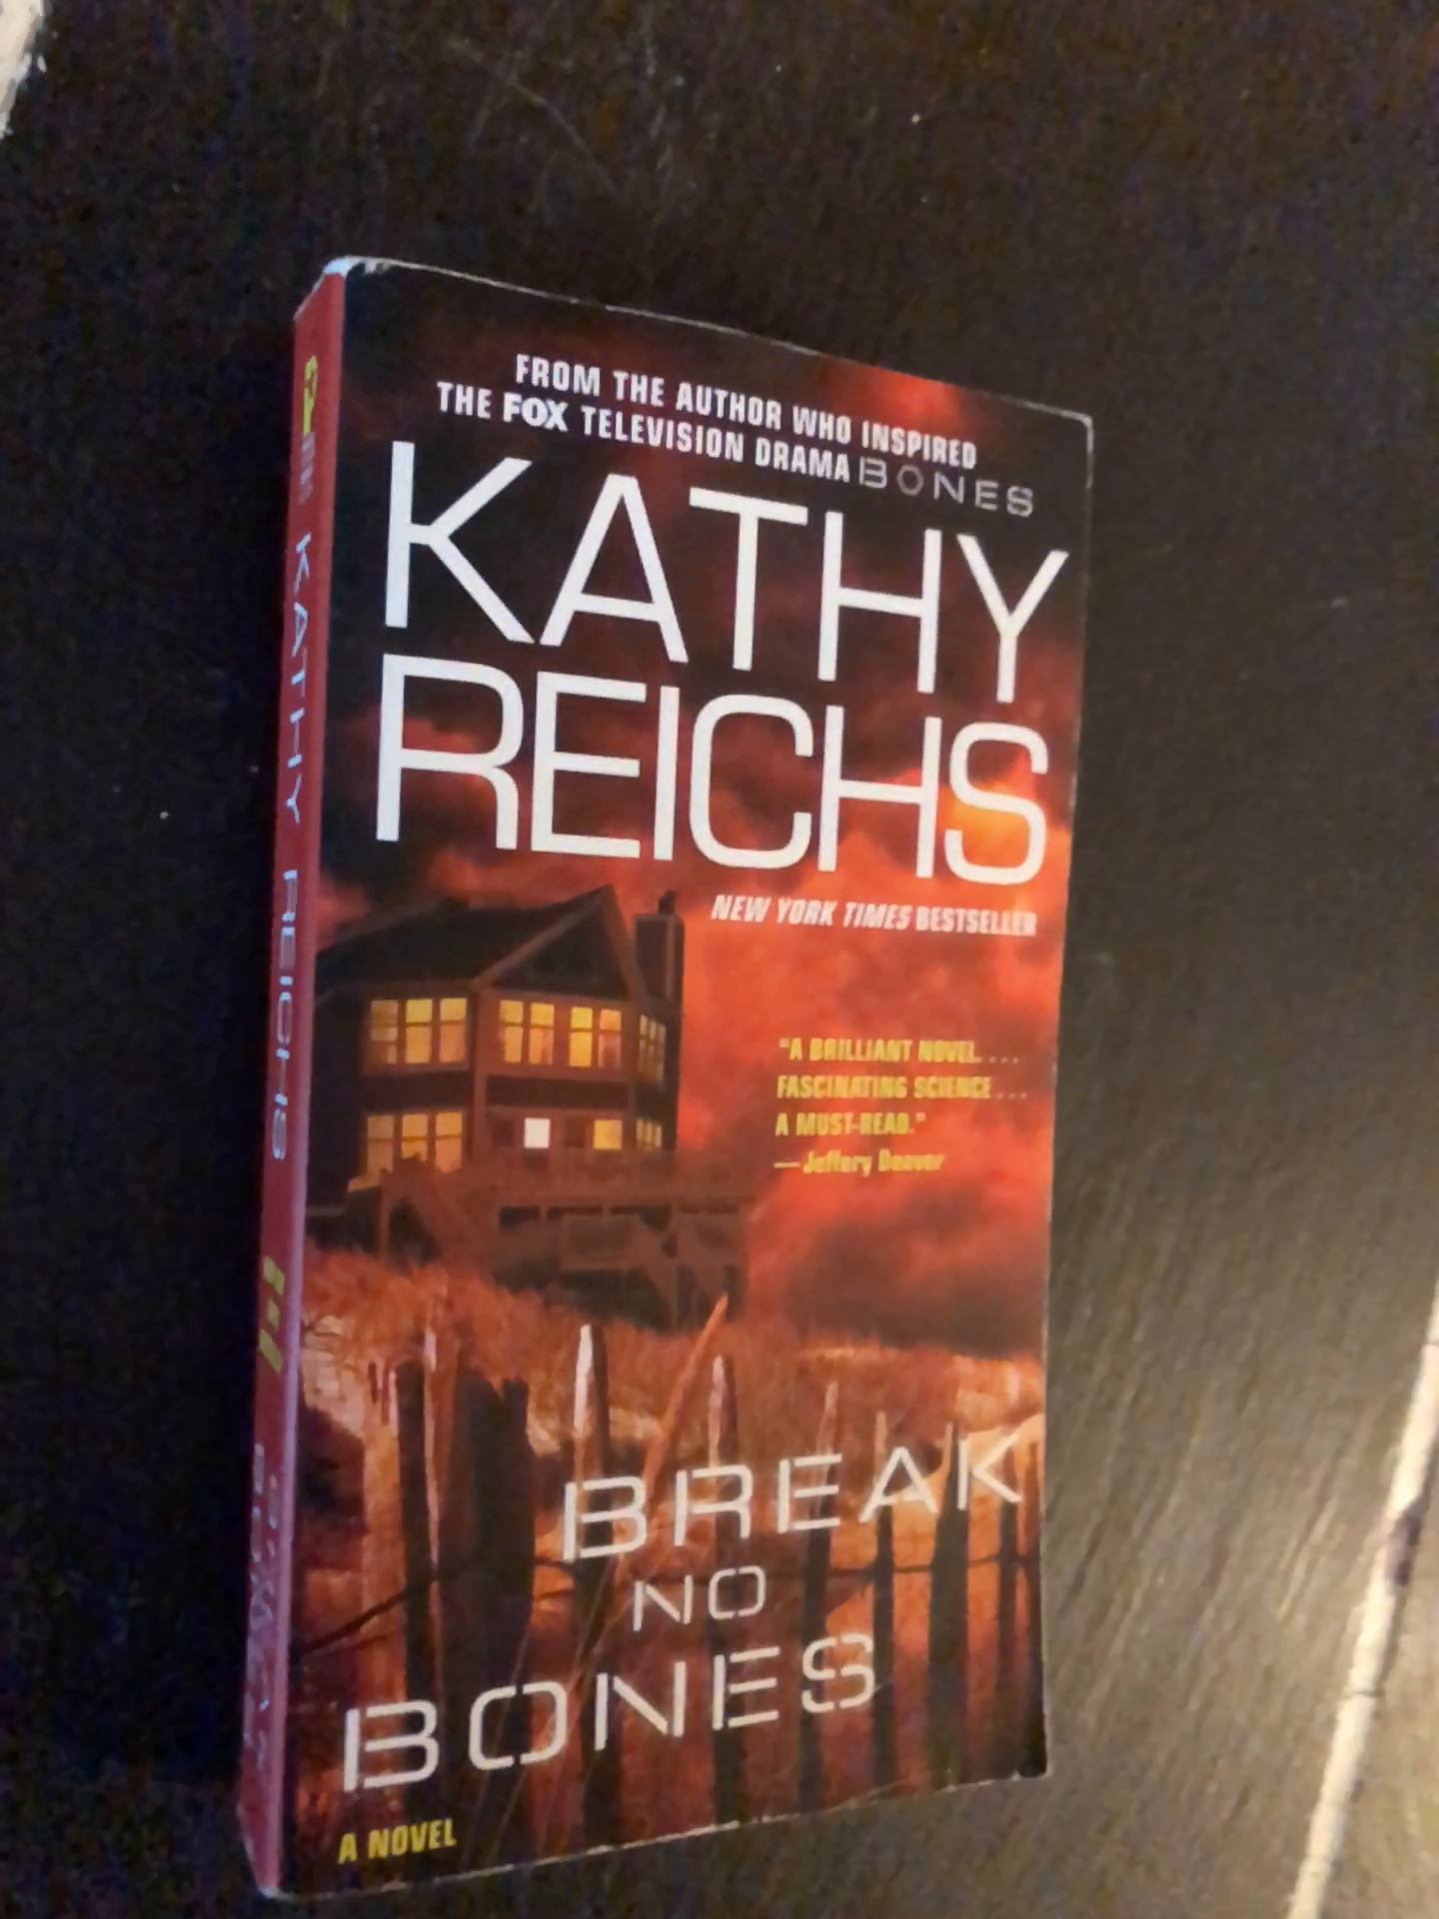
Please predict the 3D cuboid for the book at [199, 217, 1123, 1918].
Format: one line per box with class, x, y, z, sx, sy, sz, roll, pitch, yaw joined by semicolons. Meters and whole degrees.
book;-0.006;0.016;0.212;0.108;0.030;0.189;3;91;-24
